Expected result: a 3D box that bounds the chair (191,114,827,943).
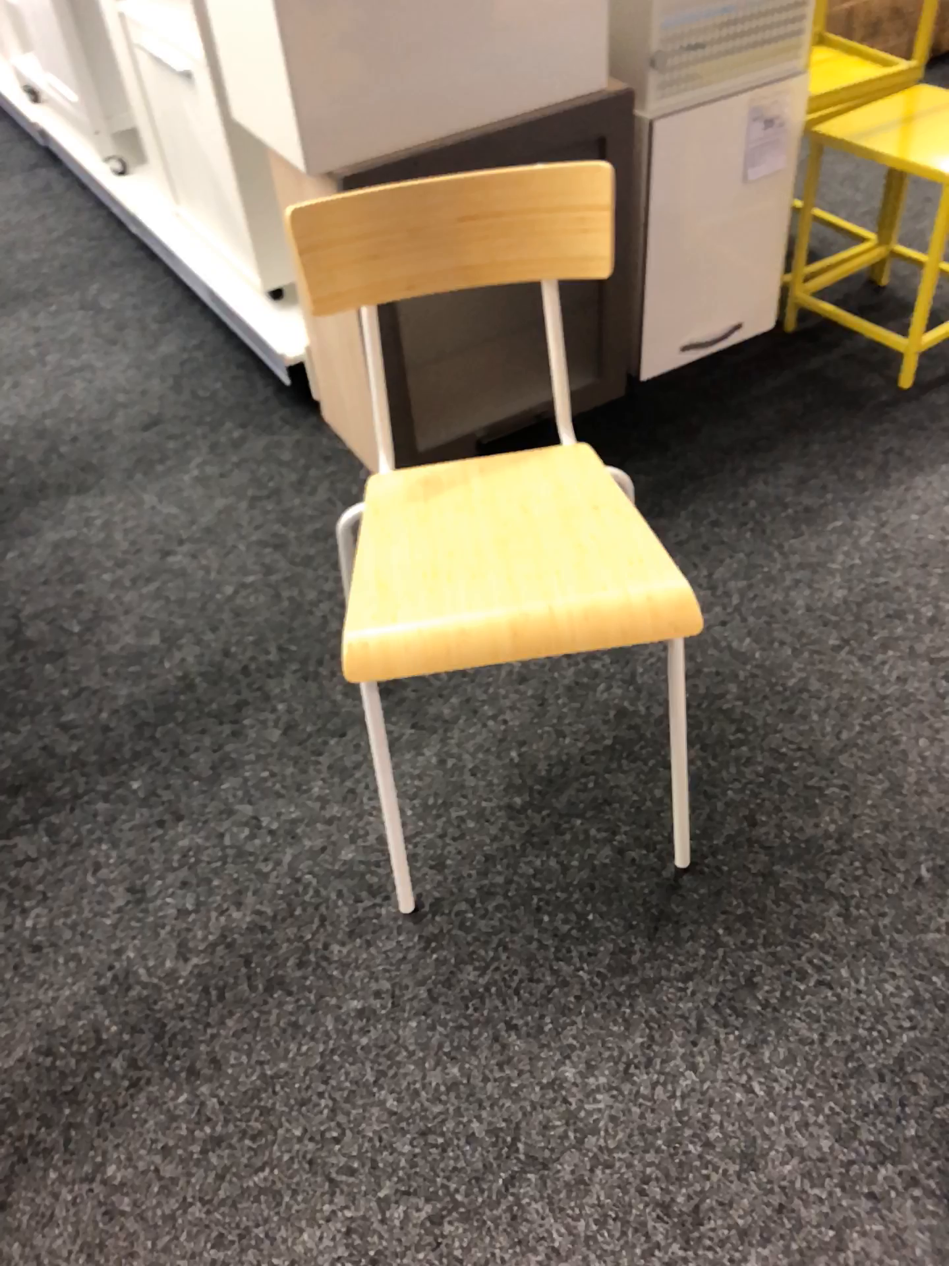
[{"bbox_3d":[0.025,-0.112,1.364,0.540,0.816,0.583,-10,44,-3],"label":"chair"}]
